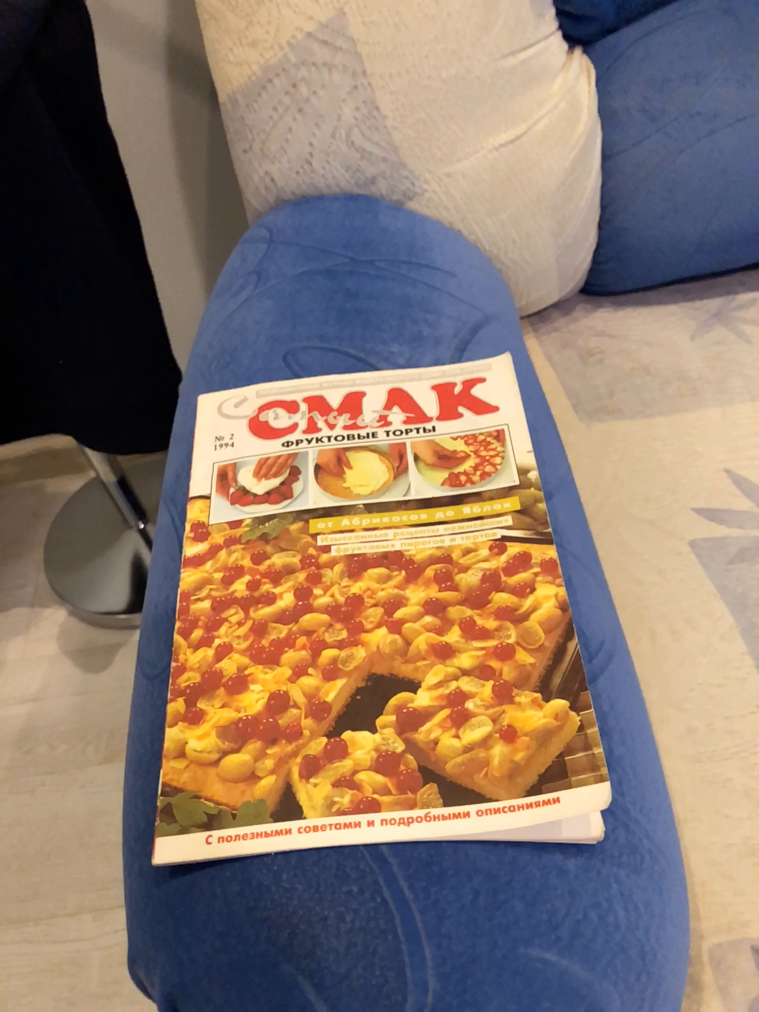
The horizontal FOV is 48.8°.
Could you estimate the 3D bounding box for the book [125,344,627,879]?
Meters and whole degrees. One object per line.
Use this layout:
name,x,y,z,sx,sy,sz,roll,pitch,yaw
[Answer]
book,-0.009,0.025,0.359,0.171,0.010,0.237,-7,52,4
